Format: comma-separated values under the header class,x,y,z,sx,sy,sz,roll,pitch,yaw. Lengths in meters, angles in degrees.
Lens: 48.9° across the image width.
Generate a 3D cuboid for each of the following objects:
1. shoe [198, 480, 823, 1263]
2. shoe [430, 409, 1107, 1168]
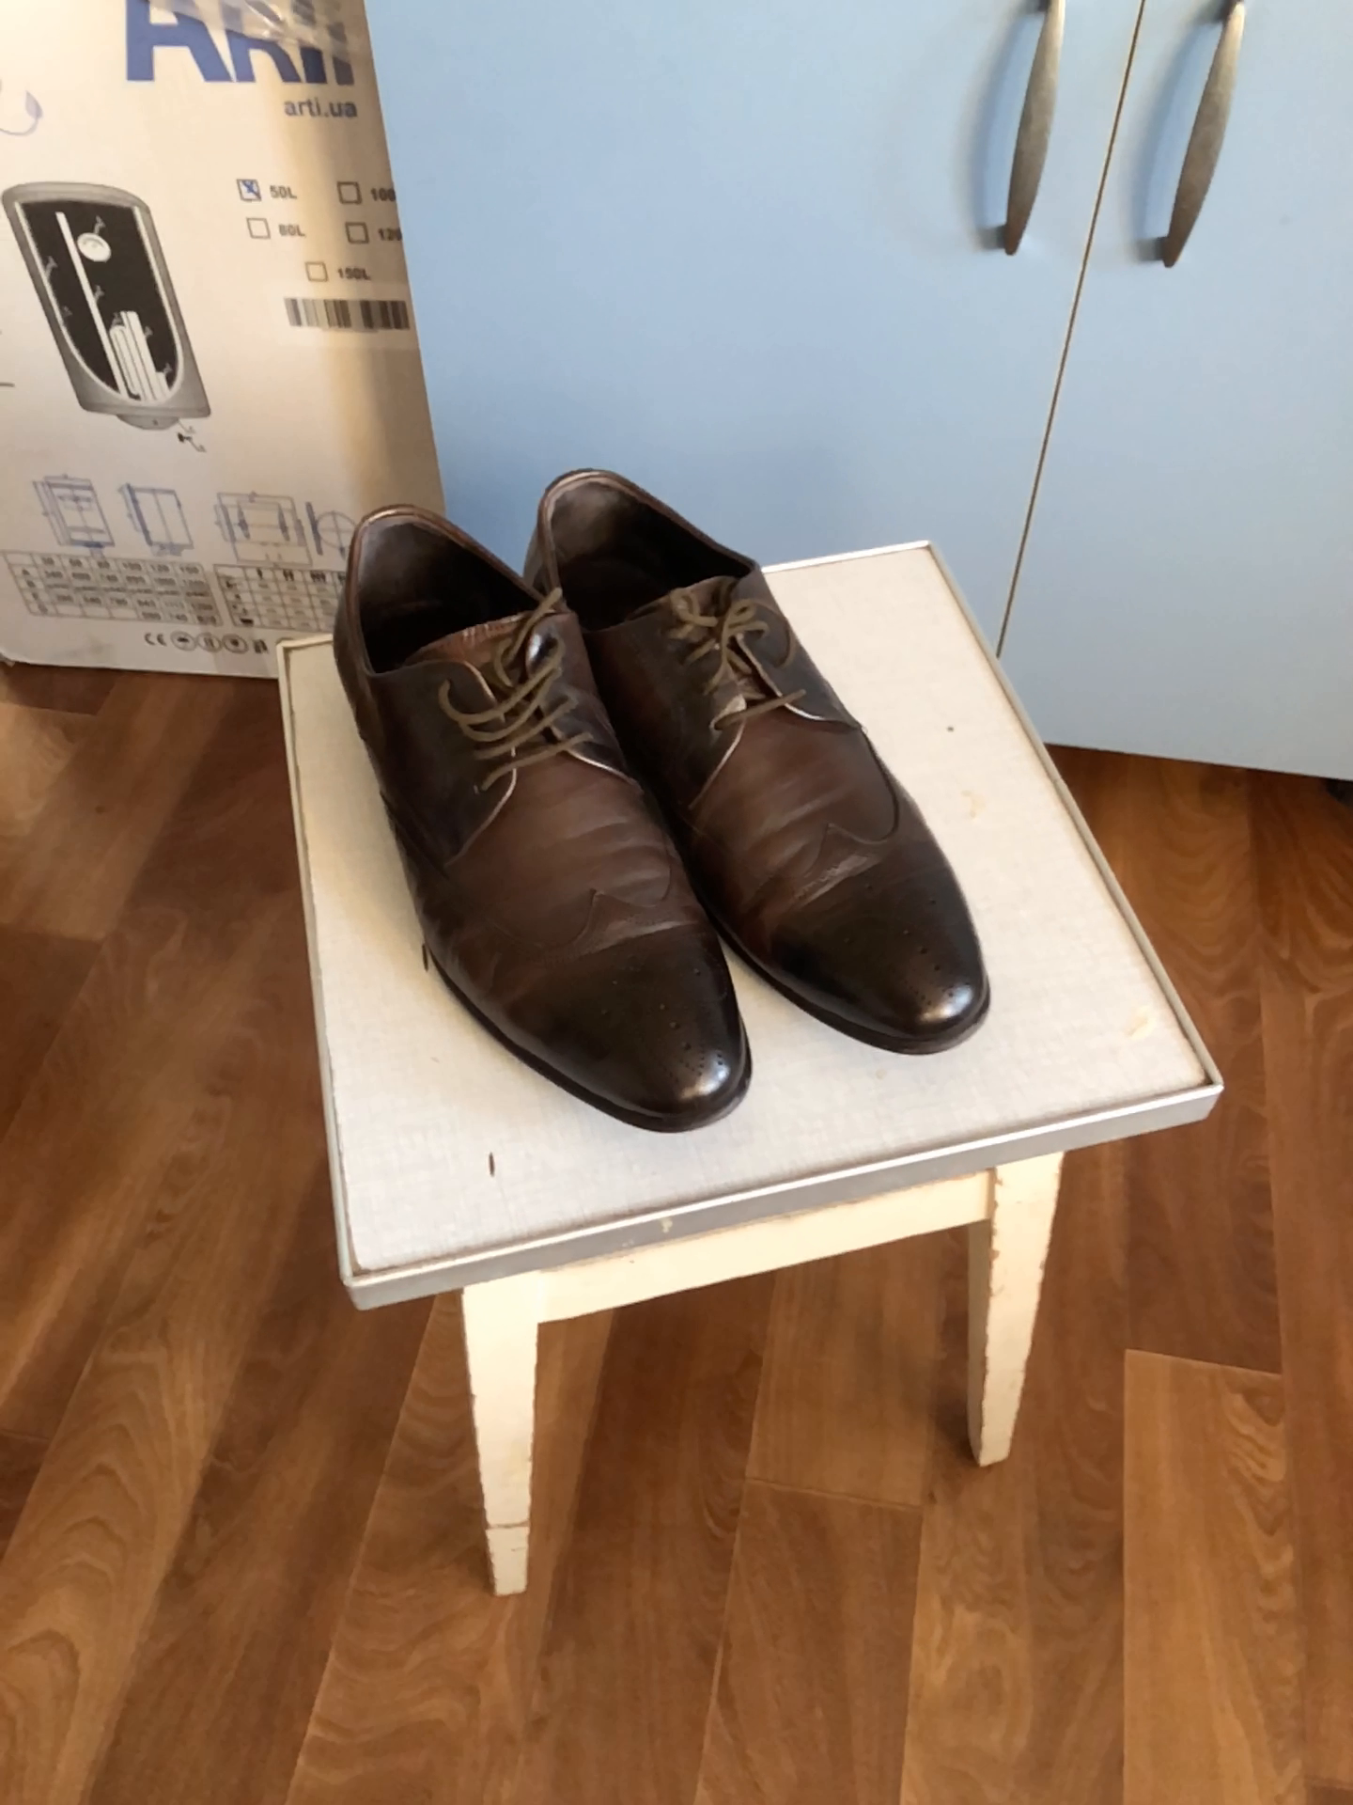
class,x,y,z,sx,sy,sz,roll,pitch,yaw
shoe,-0.071,-0.026,0.564,0.100,0.099,0.291,-25,56,-18
shoe,0.019,-0.057,0.571,0.100,0.099,0.291,-25,56,-18
